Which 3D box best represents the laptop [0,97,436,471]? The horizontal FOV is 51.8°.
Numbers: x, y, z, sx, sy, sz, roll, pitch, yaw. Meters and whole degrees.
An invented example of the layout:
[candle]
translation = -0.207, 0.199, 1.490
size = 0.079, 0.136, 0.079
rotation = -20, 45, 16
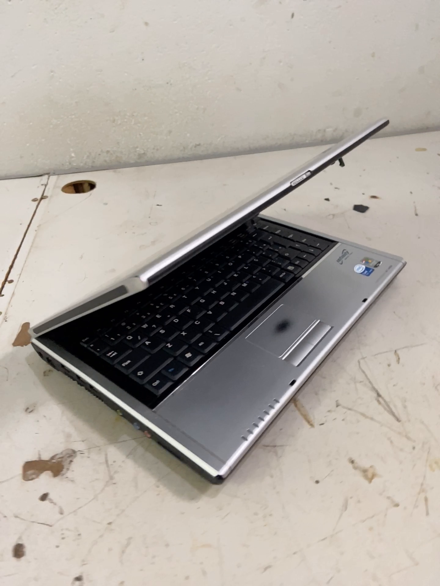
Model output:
[laptop]
translation = 0.010, -0.056, 0.418
size = 0.227, 0.144, 0.320
rotation = 24, 45, 33
